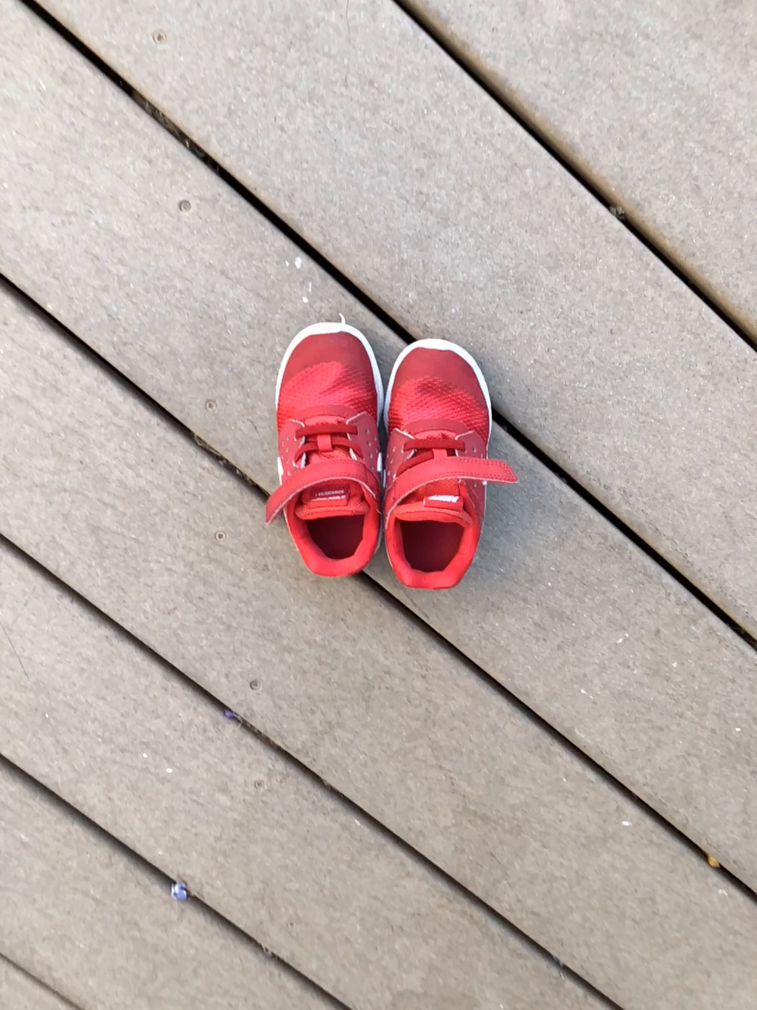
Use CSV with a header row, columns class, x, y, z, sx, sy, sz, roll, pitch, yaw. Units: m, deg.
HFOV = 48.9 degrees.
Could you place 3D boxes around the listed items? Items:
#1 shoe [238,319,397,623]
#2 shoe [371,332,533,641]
class,x,y,z,sx,sy,sz,roll,pitch,yaw
shoe,-0.032,-0.025,0.507,0.077,0.087,0.167,-3,104,1
shoe,0.038,-0.015,0.501,0.077,0.087,0.167,3,104,-1
